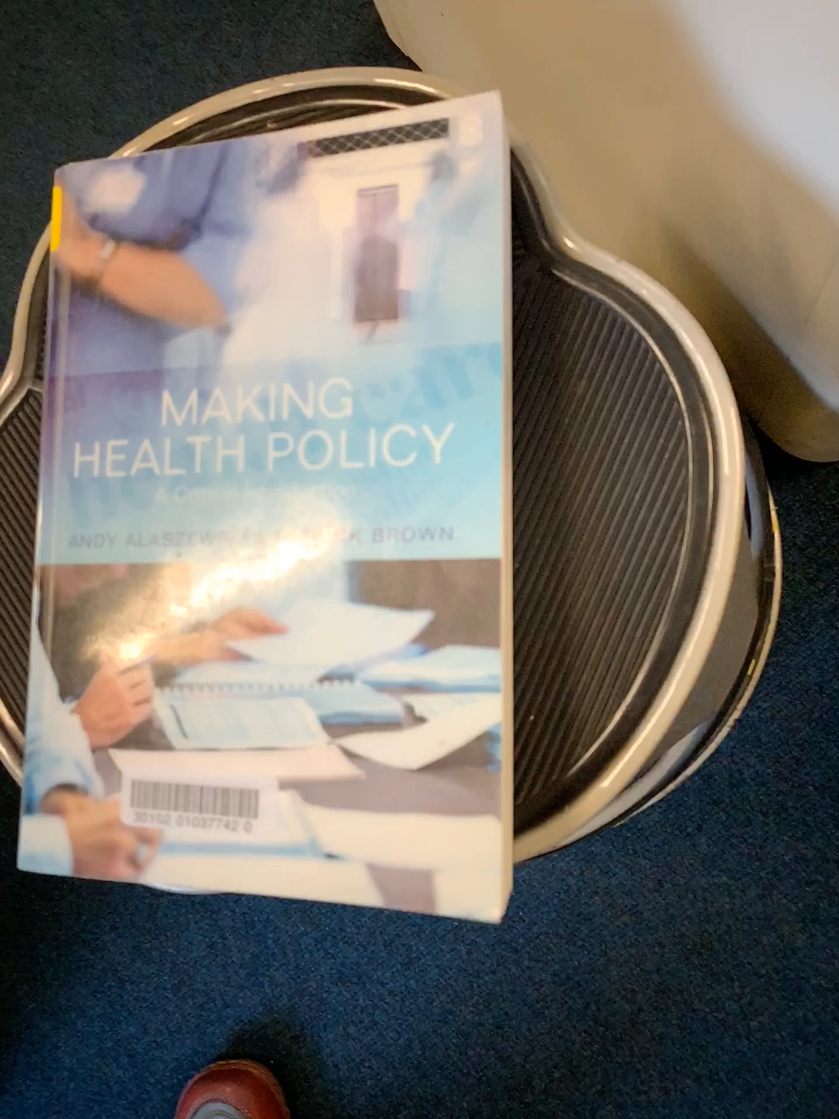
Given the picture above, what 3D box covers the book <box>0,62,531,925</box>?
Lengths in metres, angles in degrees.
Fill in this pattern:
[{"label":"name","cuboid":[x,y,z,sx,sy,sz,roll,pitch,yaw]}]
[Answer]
[{"label":"book","cuboid":[-0.048,-0.023,0.270,0.160,0.030,0.240,-1,82,16]}]
